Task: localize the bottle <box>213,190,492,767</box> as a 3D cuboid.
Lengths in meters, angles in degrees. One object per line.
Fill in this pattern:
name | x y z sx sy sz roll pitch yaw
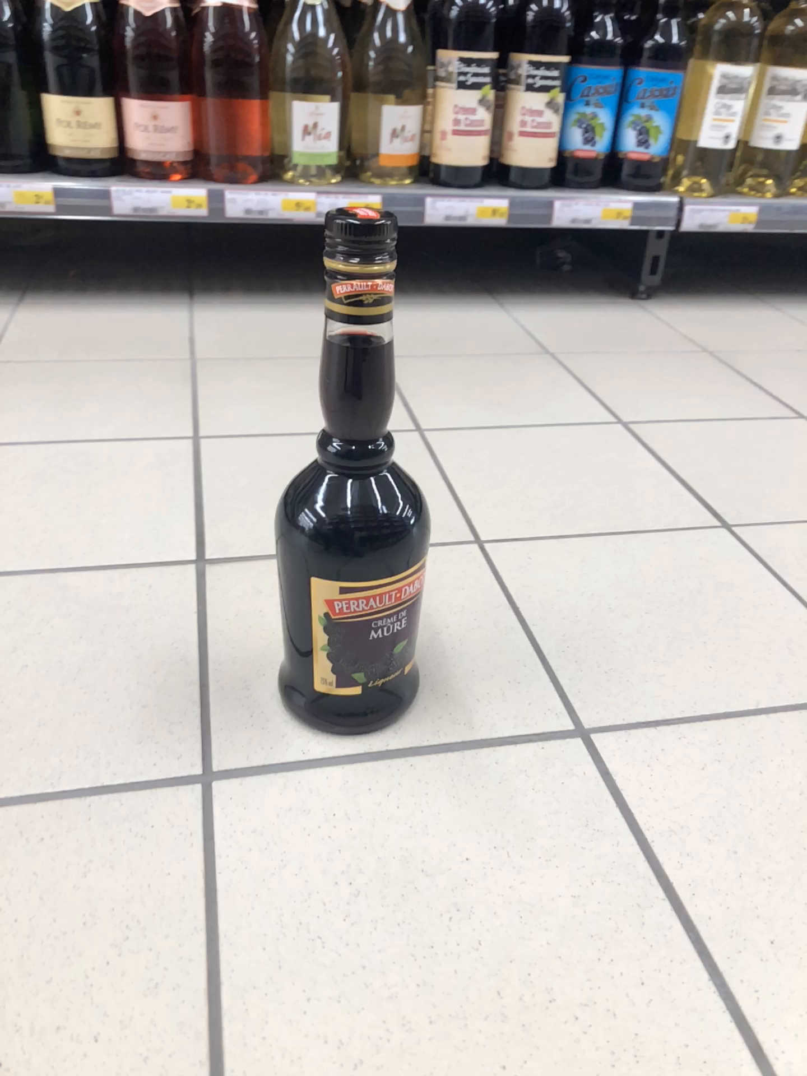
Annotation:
bottle | -0.031 -0.025 0.433 0.090 0.258 0.080 -13 33 -27
